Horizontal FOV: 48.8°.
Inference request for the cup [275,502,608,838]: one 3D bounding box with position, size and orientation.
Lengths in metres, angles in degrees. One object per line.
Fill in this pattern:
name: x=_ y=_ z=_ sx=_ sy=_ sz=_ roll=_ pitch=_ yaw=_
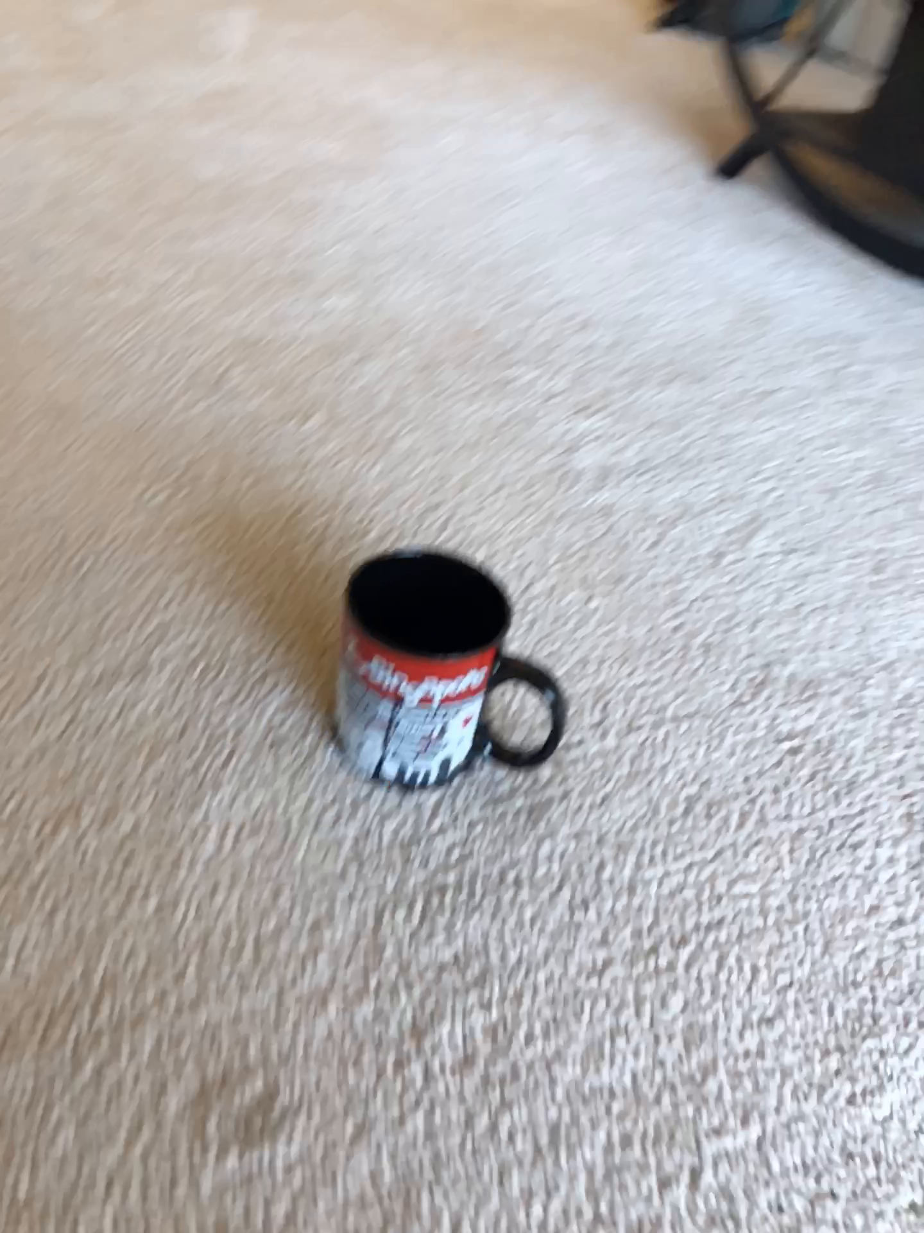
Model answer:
cup: x=-0.012 y=0.023 z=0.511 sx=0.130 sy=0.090 sz=0.090 roll=23 pitch=41 yaw=15
